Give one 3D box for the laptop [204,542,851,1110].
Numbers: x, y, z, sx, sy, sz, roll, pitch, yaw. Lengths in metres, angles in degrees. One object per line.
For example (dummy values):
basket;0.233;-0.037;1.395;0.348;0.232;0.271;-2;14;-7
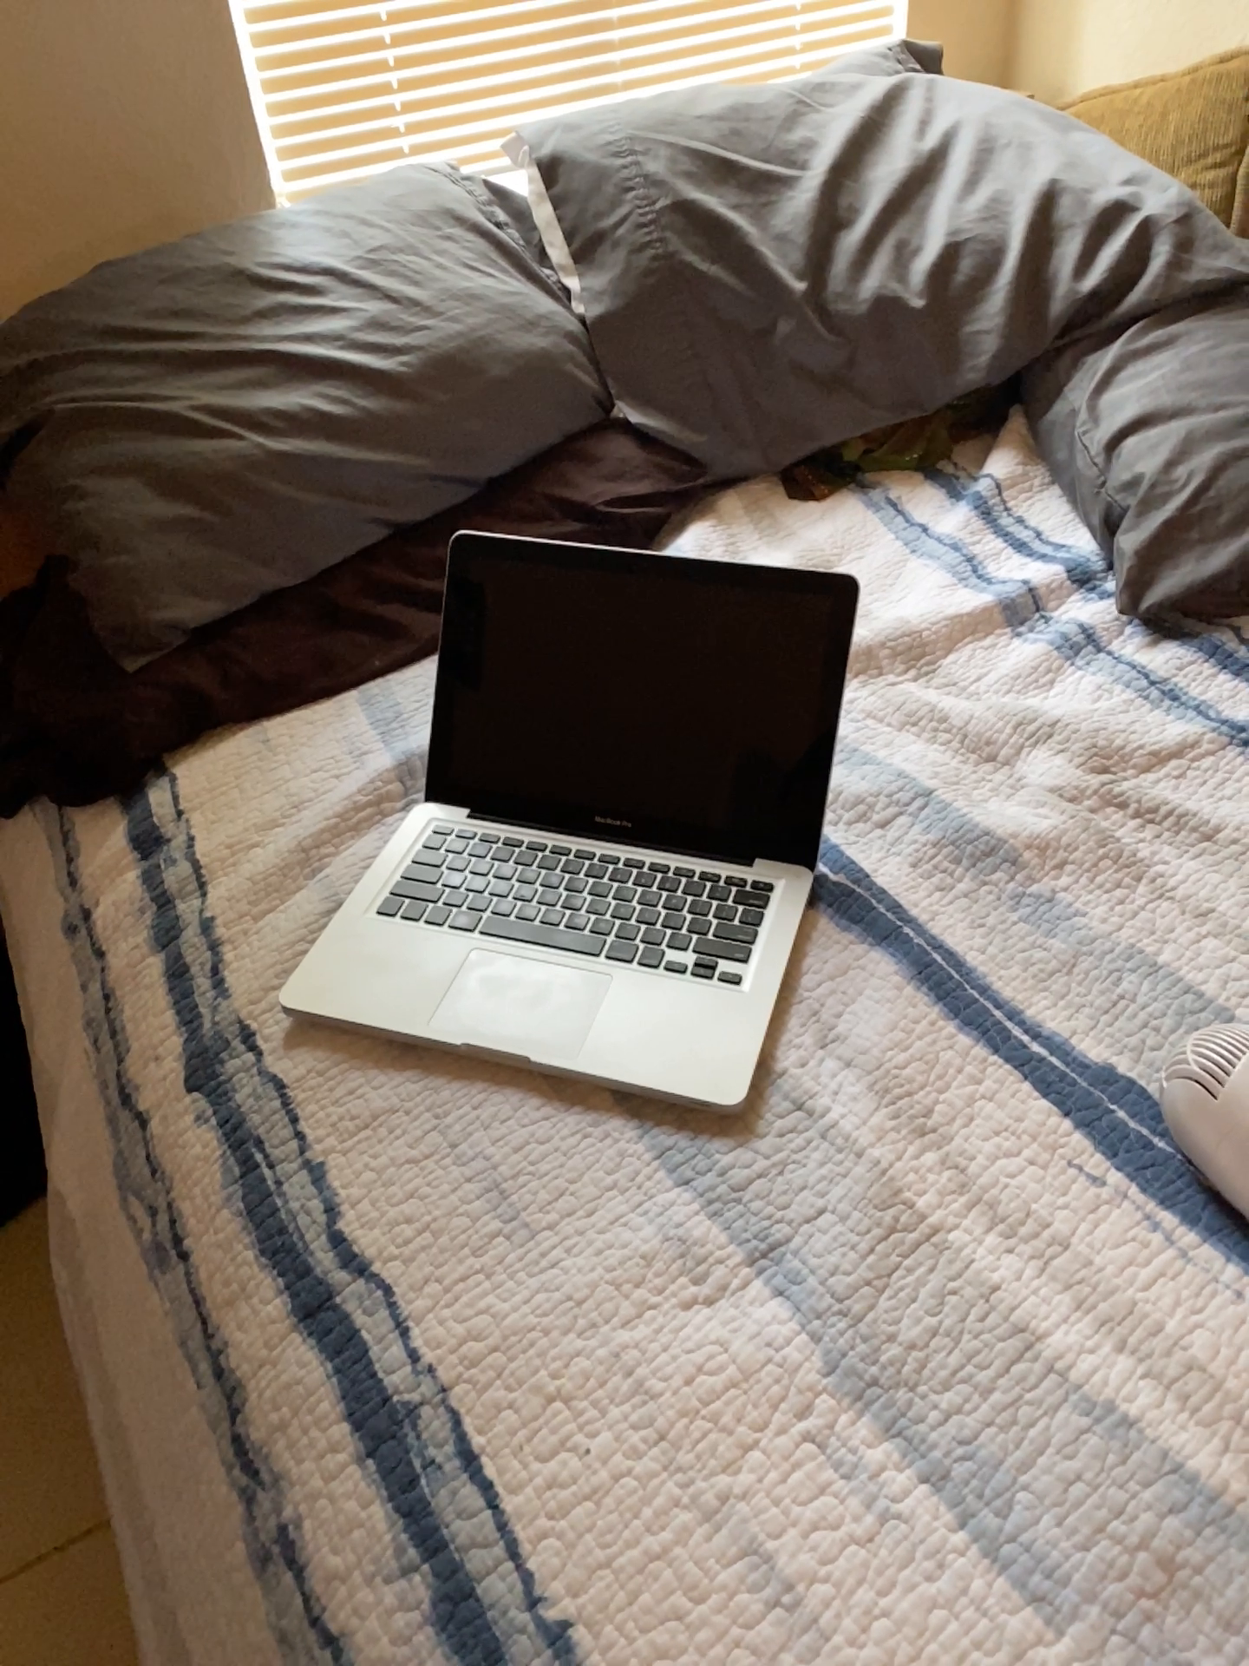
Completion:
laptop;-0.035;-0.032;0.875;0.319;0.169;0.348;9;41;17
